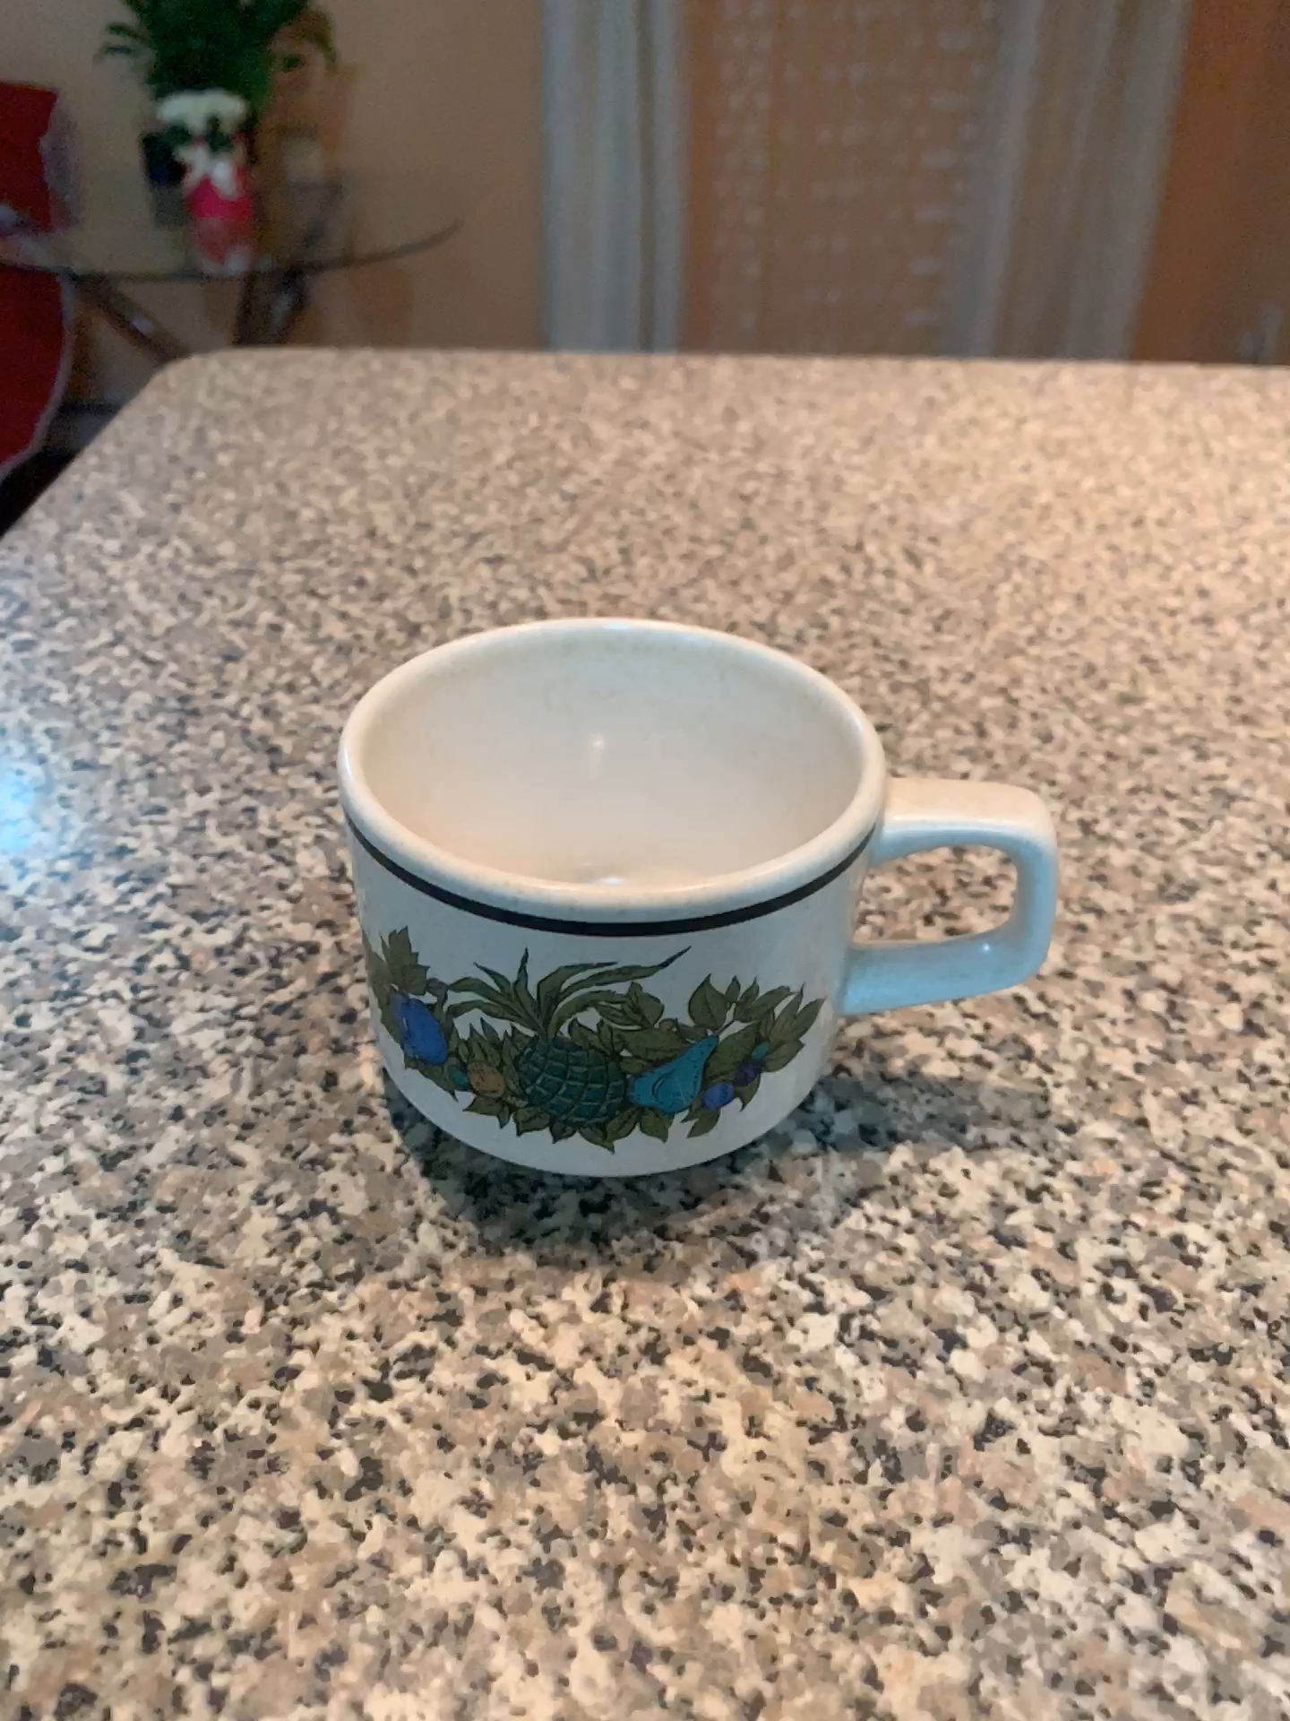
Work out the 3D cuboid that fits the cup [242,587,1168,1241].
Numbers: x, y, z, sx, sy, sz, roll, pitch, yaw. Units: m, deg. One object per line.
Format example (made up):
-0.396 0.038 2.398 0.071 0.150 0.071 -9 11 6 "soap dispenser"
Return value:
0.010 0.003 0.220 0.117 0.054 0.088 5 36 4 "cup"
